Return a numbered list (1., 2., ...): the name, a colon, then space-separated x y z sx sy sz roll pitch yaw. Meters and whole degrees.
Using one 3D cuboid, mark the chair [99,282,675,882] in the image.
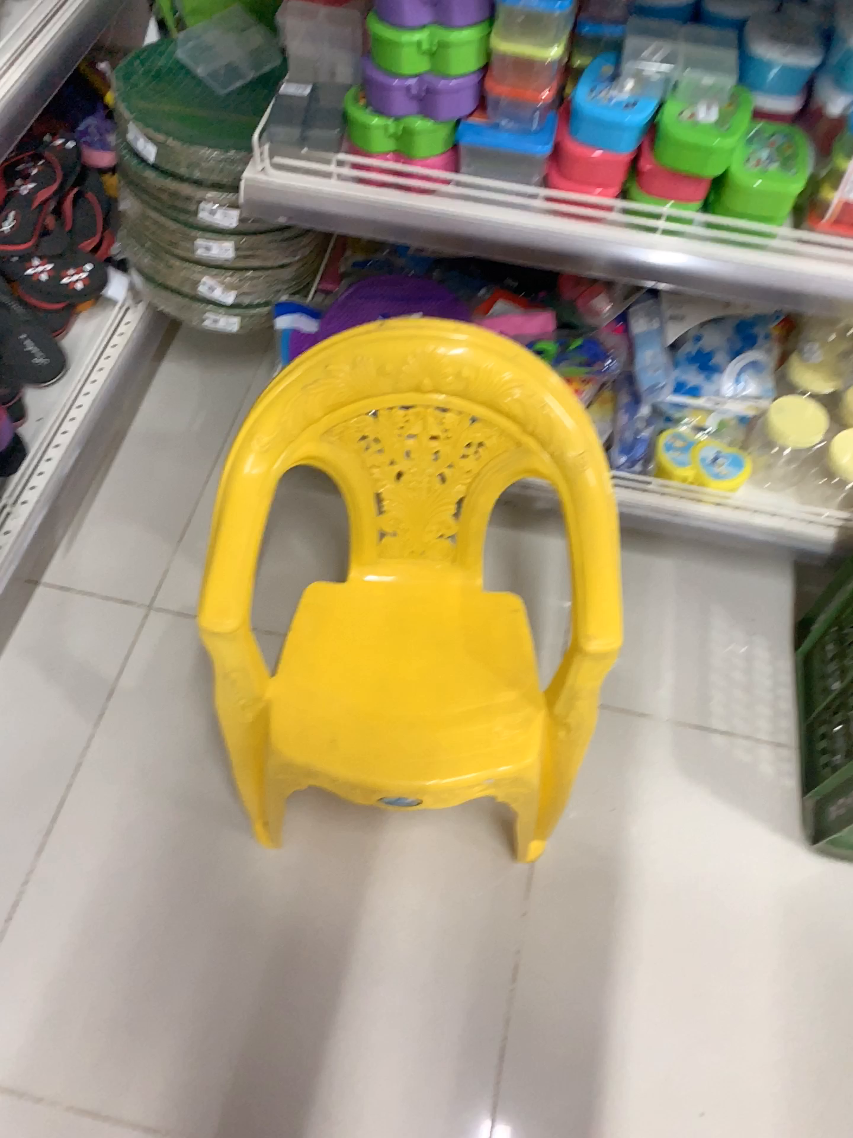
1. chair: -0.020 0.038 0.940 0.420 0.449 0.461 4 59 1
